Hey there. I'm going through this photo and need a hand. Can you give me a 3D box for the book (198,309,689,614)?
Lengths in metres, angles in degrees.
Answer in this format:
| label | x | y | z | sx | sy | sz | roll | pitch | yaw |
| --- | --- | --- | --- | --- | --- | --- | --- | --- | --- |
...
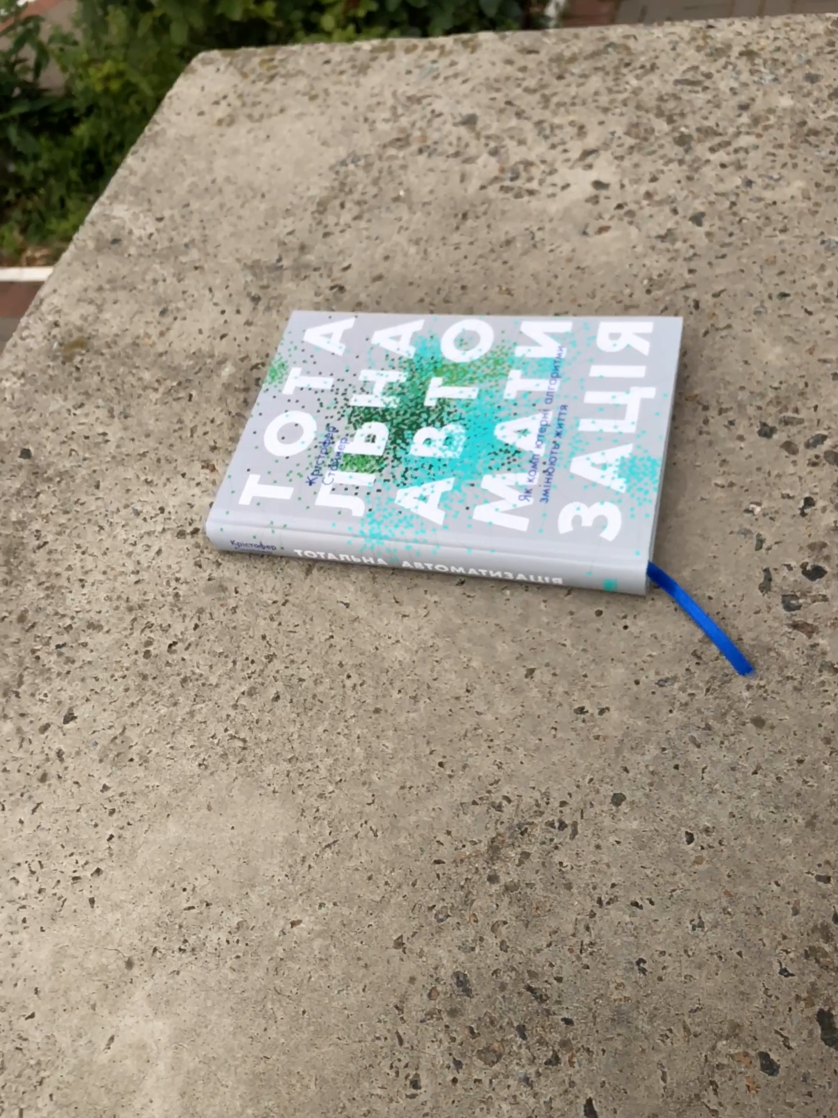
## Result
| label | x | y | z | sx | sy | sz | roll | pitch | yaw |
| --- | --- | --- | --- | --- | --- | --- | --- | --- | --- |
| book | 0.016 | -0.060 | 0.473 | 0.221 | 0.030 | 0.157 | 5 | 61 | 18 |
